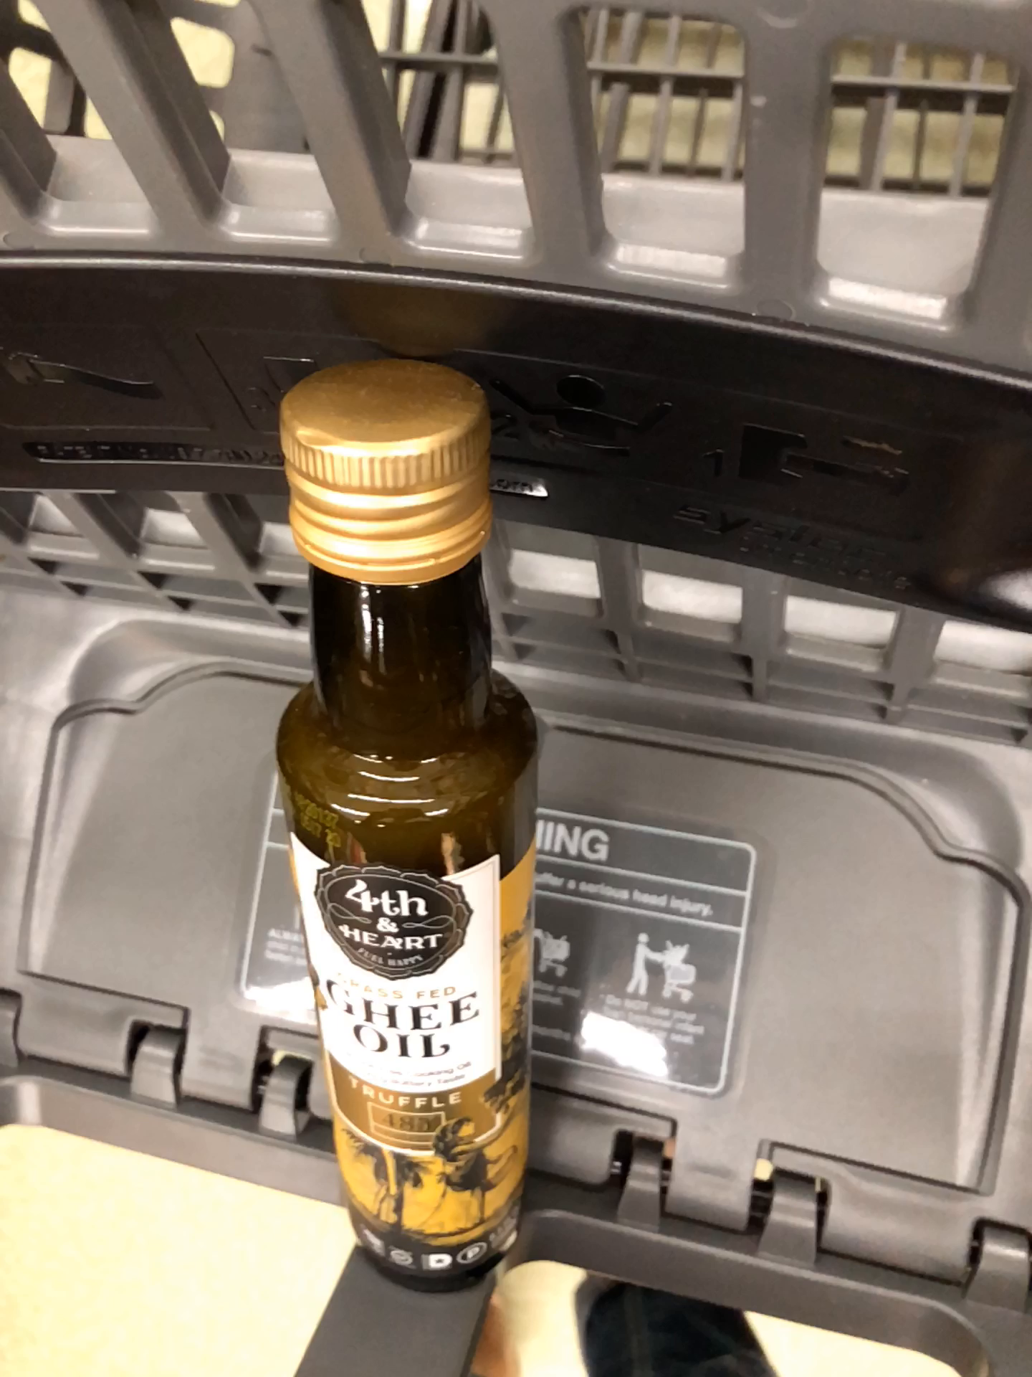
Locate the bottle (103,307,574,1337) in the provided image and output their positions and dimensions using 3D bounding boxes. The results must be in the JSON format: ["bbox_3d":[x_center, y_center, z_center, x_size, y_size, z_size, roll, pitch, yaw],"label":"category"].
[{"bbox_3d":[-0.022,0.053,0.247,0.054,0.050,0.251,9,130,11],"label":"bottle"}]
